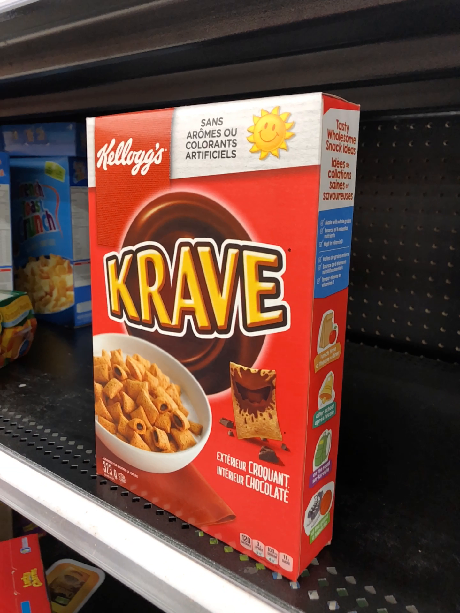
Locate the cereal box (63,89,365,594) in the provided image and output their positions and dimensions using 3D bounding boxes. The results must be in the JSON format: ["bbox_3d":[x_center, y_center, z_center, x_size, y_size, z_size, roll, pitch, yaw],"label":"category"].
[{"bbox_3d":[-0.028,0.012,0.354,0.210,0.279,0.050,11,14,37],"label":"cereal box"}]
